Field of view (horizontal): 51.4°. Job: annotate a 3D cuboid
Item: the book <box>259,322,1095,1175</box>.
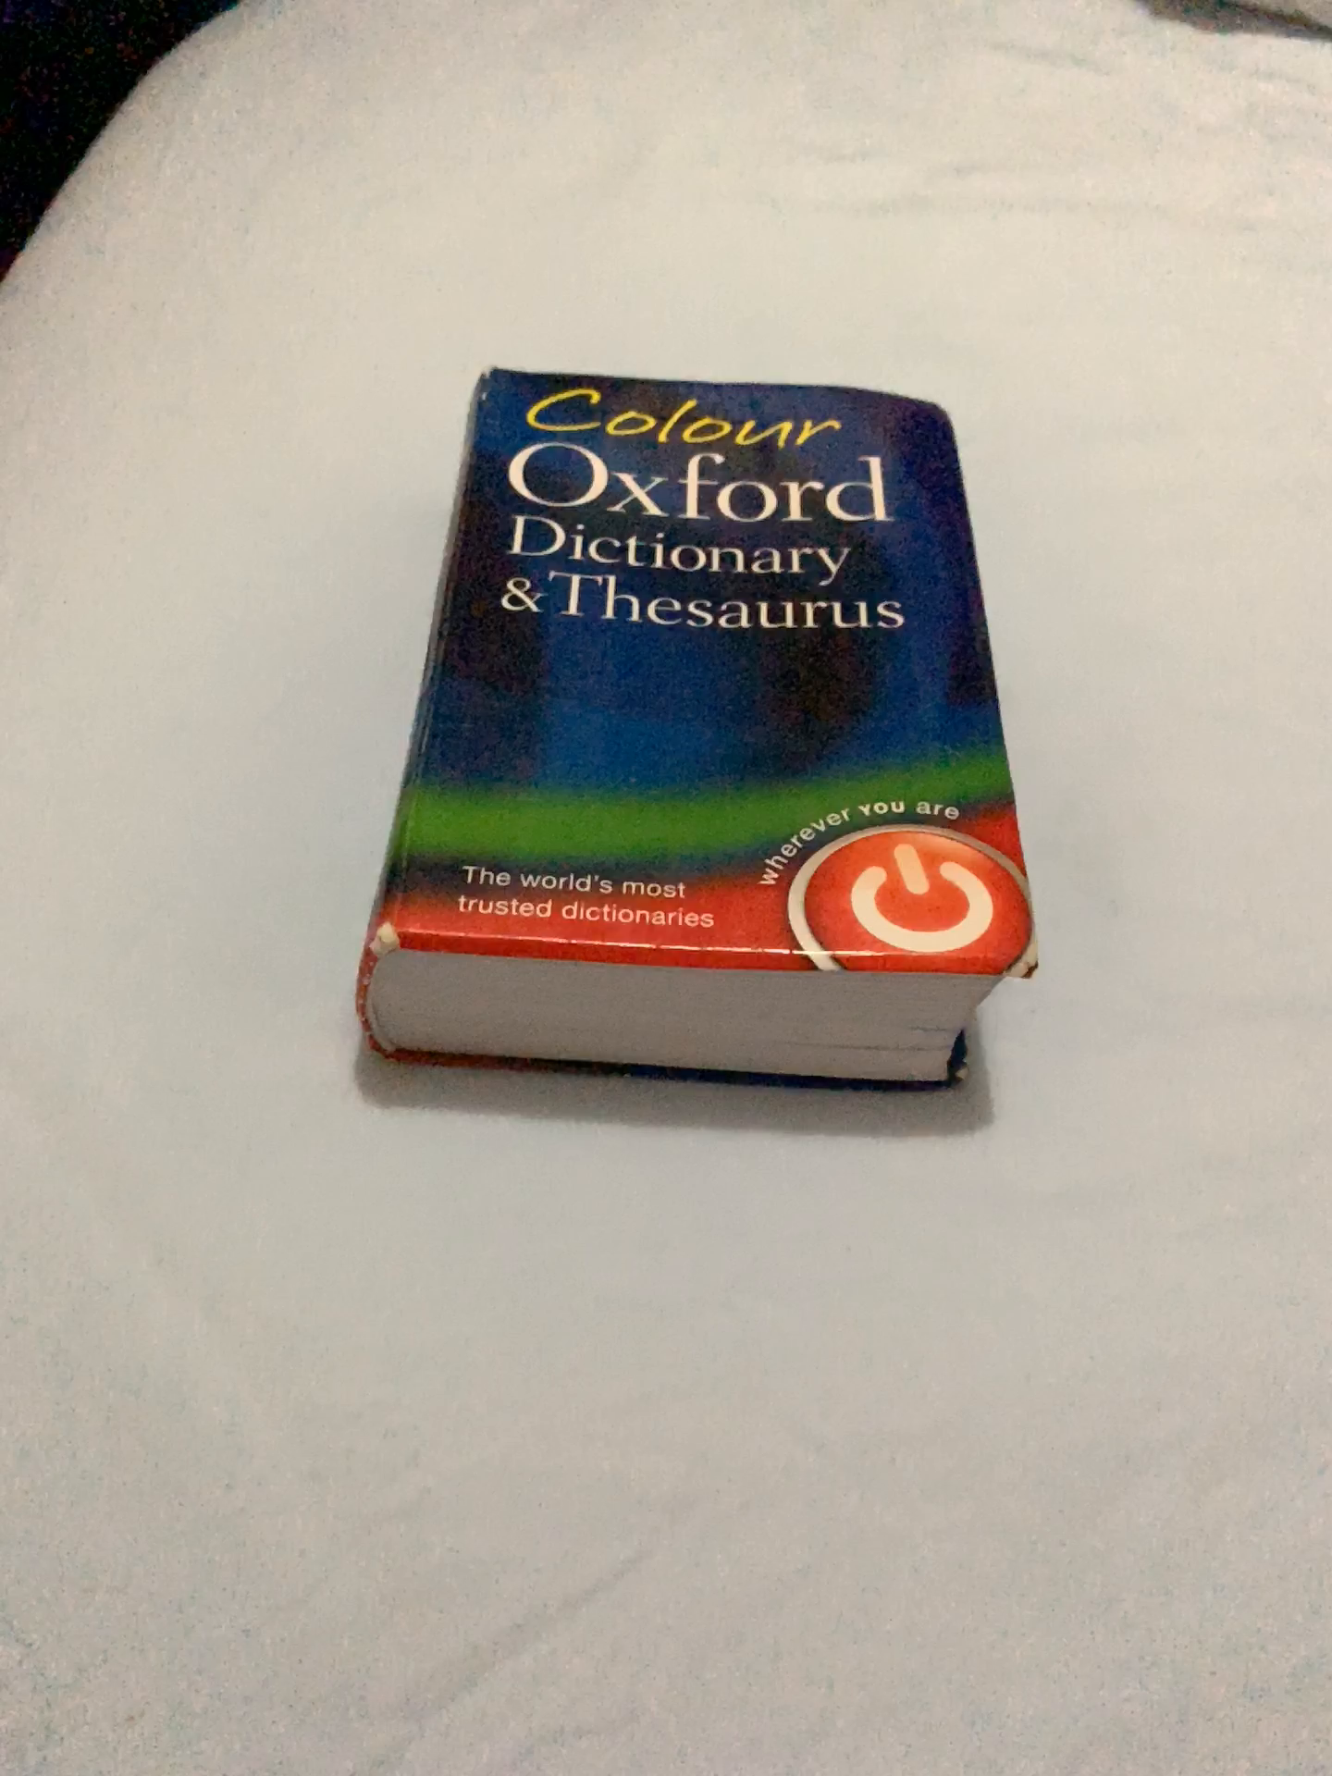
[{"bbox_3d":[0.005,-0.038,0.268,0.120,0.040,0.181,0,54,3],"label":"book"}]
